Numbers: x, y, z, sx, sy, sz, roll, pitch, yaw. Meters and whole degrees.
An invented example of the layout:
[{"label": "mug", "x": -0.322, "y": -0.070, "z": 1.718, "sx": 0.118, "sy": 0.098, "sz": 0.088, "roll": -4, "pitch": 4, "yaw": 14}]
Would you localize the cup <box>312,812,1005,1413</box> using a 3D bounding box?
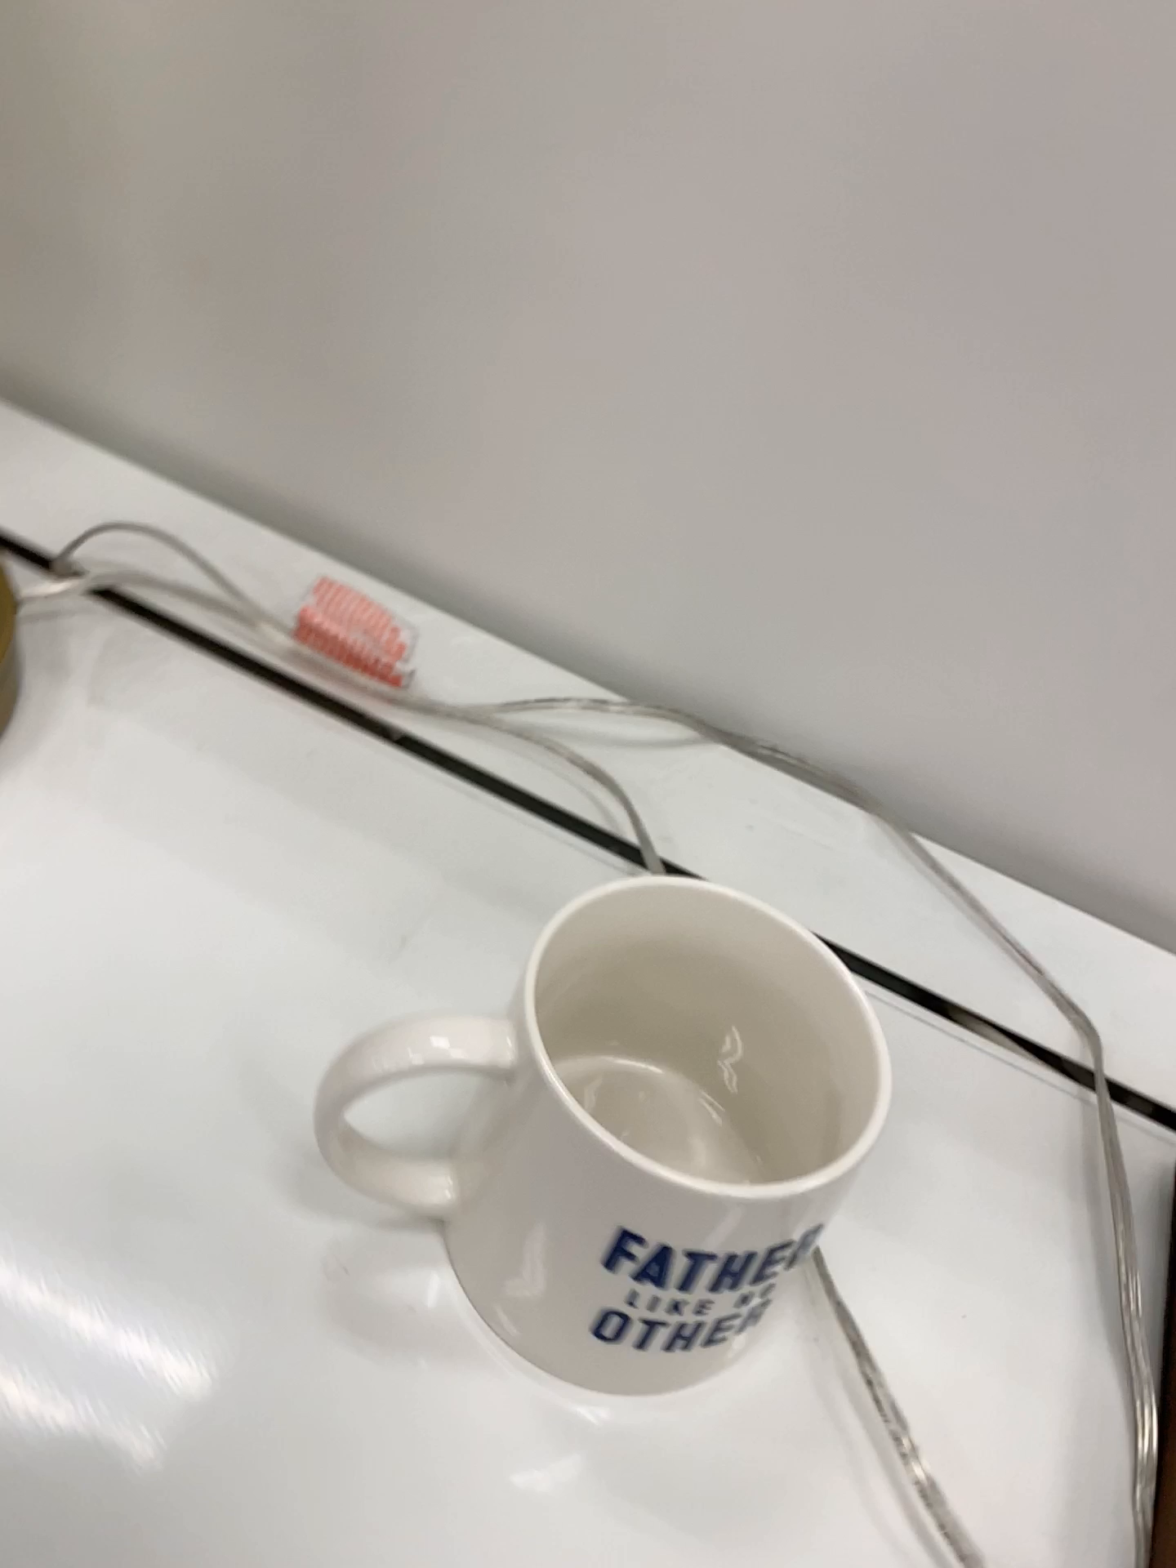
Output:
[{"label": "cup", "x": 0.006, "y": 0.099, "z": 0.366, "sx": 0.160, "sy": 0.119, "sz": 0.120, "roll": 5, "pitch": 43, "yaw": -14}]
